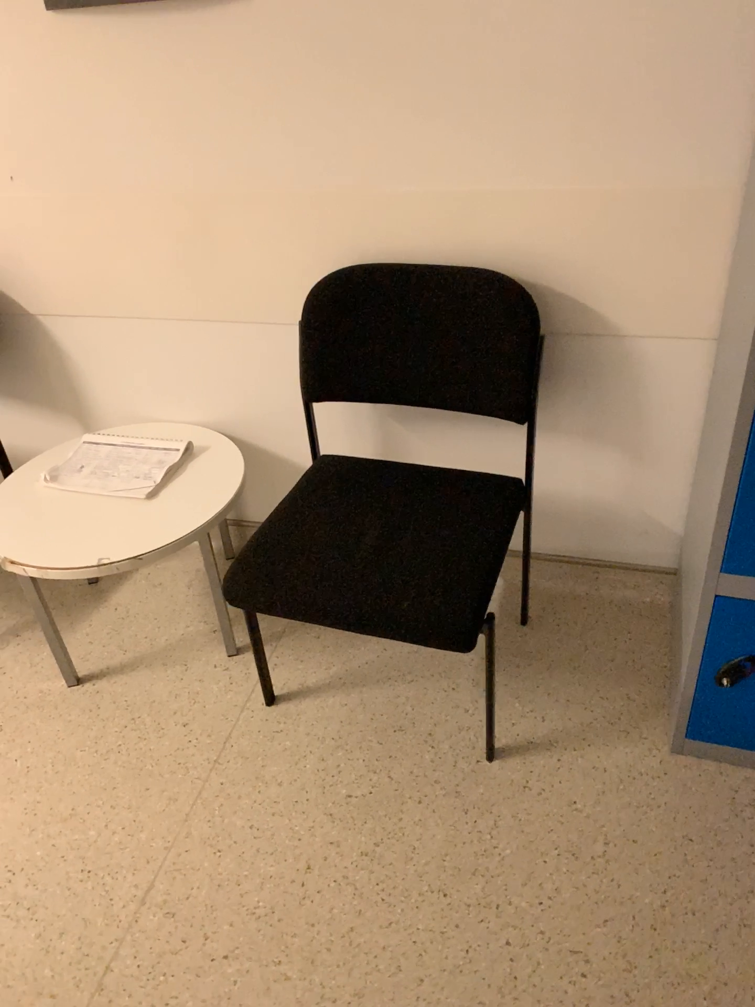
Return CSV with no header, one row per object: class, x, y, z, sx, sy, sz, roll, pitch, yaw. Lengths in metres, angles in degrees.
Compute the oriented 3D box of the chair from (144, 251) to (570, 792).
chair,0.029,0.009,1.519,0.550,0.824,0.554,9,37,20
